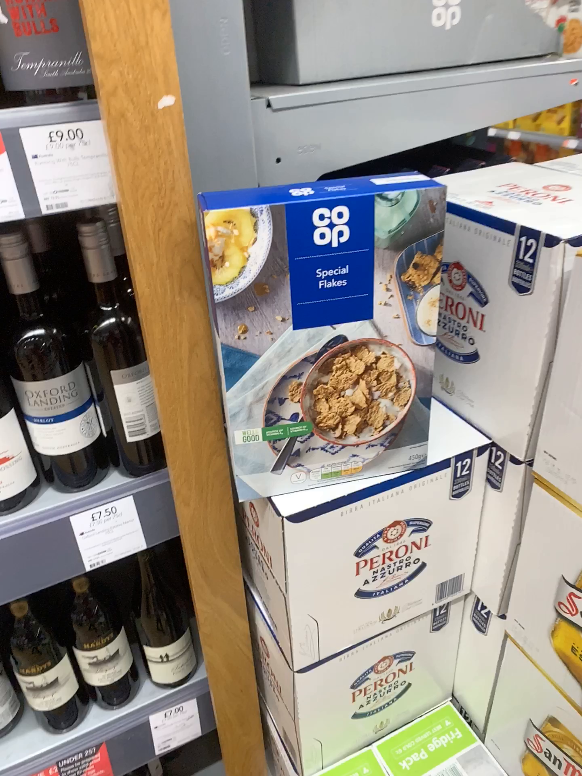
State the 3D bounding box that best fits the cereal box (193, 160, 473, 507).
[{"bbox_3d":[0.037,-0.041,0.520,0.200,0.267,0.071,-9,31,-9],"label":"cereal box"}]
